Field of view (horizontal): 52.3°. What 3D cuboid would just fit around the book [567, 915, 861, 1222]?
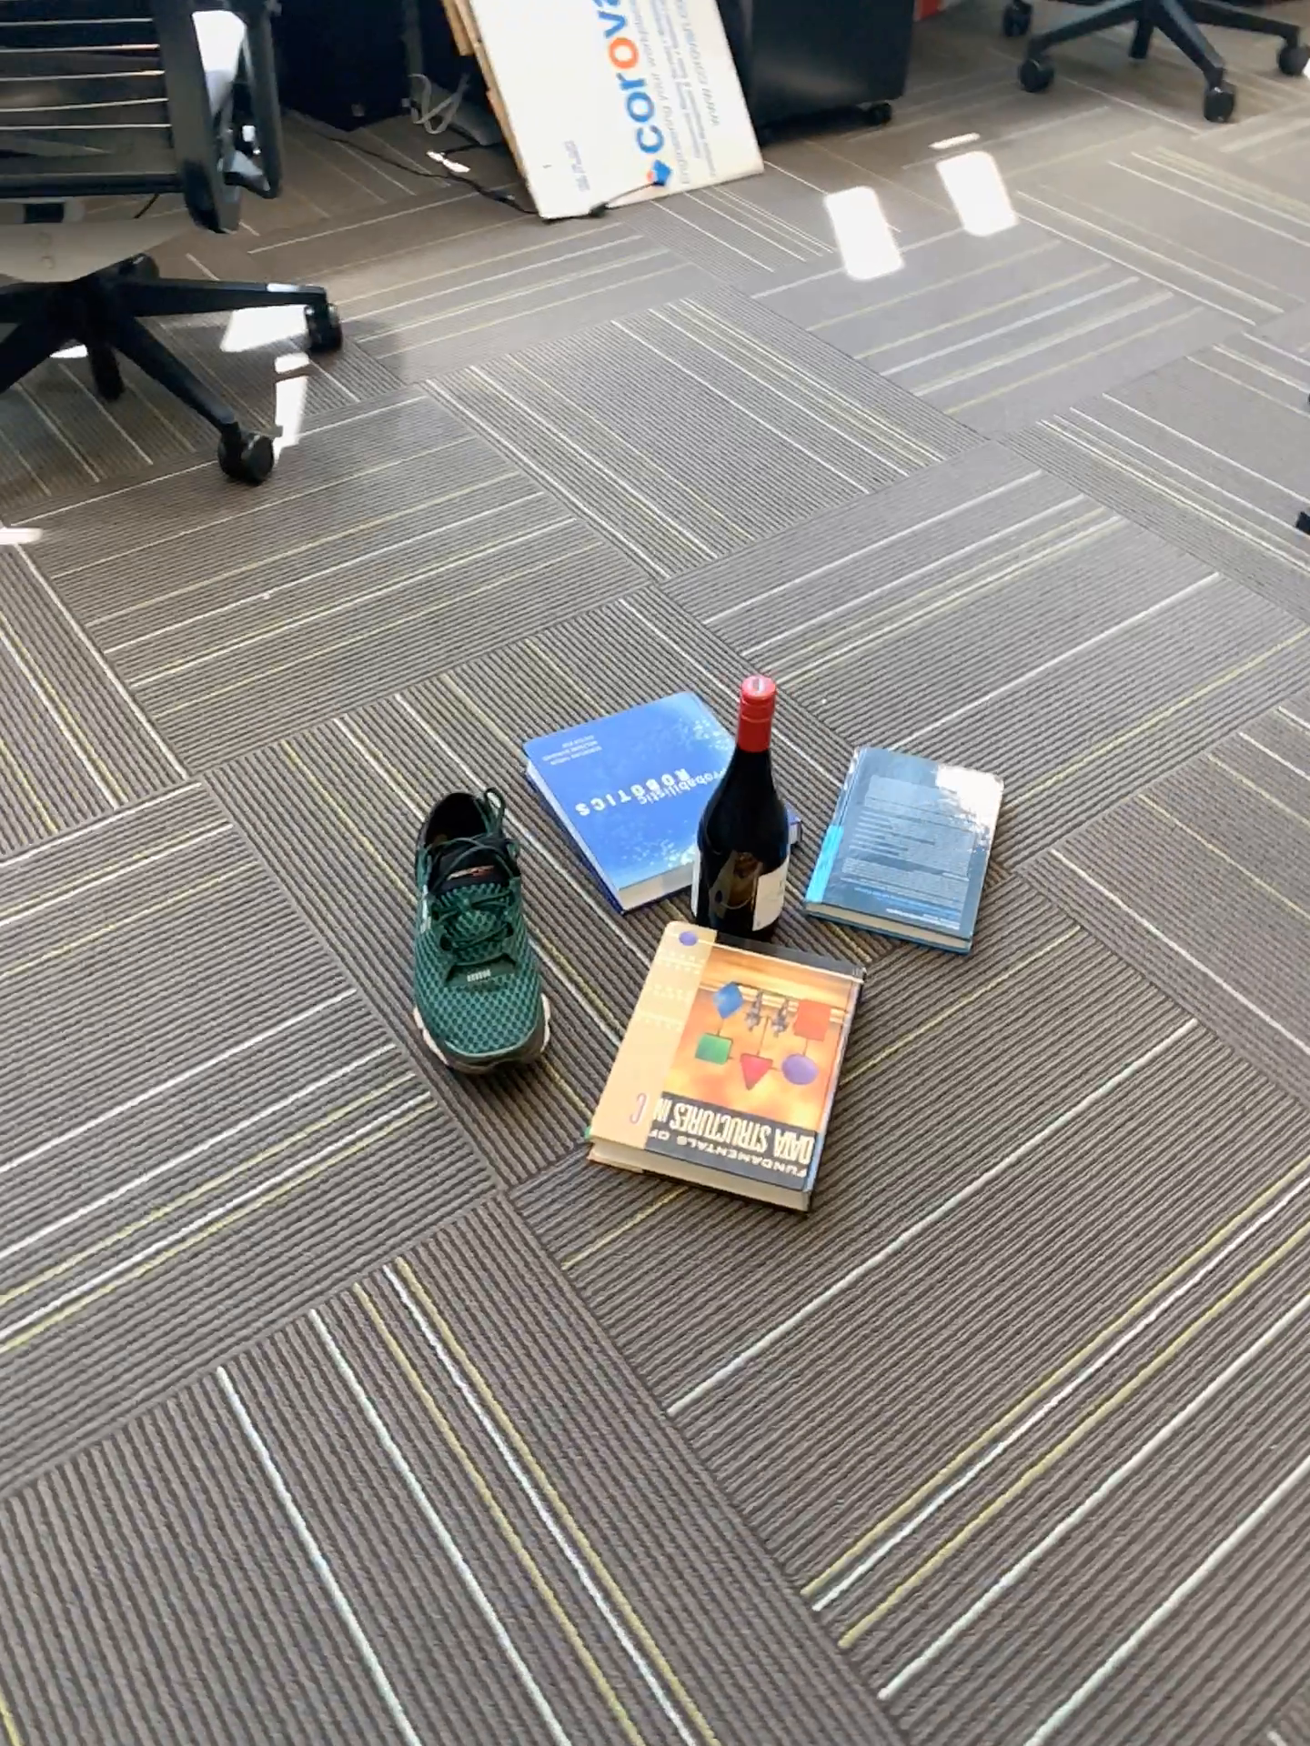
[{"bbox_3d":[0.055,0.154,1.114,0.189,0.041,0.231,13,49,11],"label":"book"}]

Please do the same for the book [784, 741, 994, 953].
[{"bbox_3d":[0.229,-0.032,1.289,0.156,0.034,0.221,12,48,15],"label":"book"}]

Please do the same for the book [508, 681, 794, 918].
[{"bbox_3d":[-0.008,-0.081,1.328,0.193,0.041,0.231,-22,52,-20],"label":"book"}]
